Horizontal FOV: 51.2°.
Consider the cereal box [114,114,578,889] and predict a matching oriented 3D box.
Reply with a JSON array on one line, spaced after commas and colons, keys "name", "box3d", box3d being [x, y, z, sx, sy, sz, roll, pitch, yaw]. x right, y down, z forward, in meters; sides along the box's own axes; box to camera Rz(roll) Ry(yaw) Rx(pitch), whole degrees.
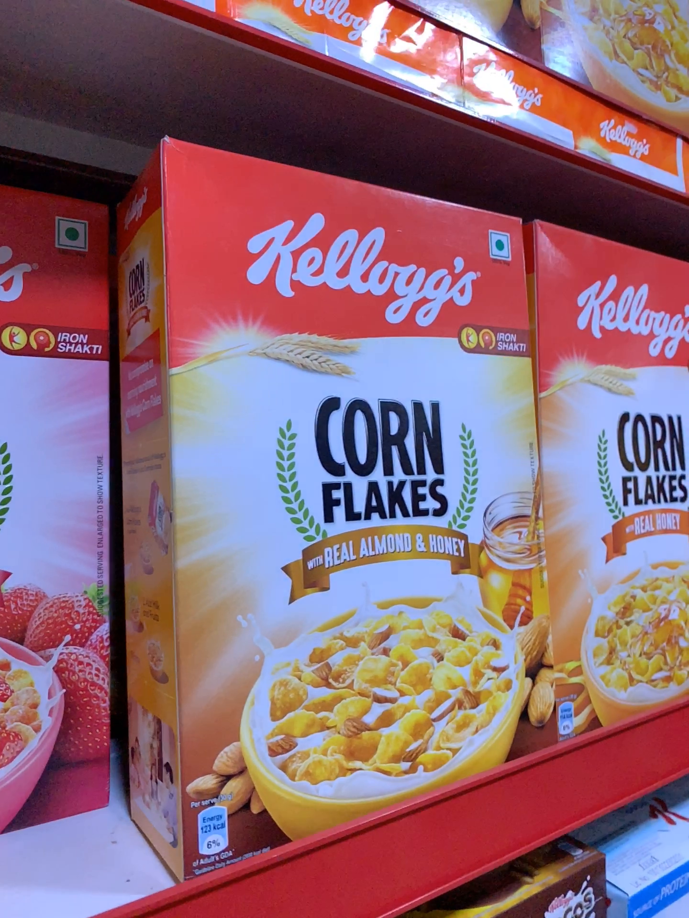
[{"name": "cereal box", "box3d": [0.006, 0.010, 0.284, 0.170, 0.230, 0.060, -1, -2, -32]}]
